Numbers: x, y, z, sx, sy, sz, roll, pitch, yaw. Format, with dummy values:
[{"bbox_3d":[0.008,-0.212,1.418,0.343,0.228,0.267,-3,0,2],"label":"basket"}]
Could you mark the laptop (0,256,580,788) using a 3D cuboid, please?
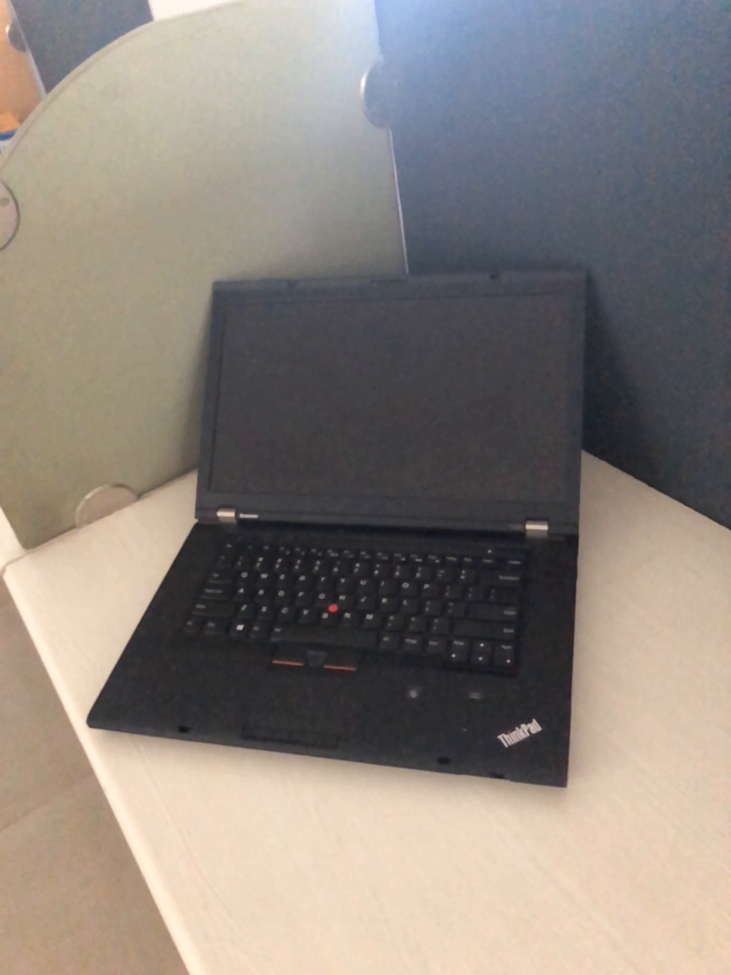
[{"bbox_3d":[-0.016,-0.009,0.662,0.355,0.167,0.407,1,40,16],"label":"laptop"}]
